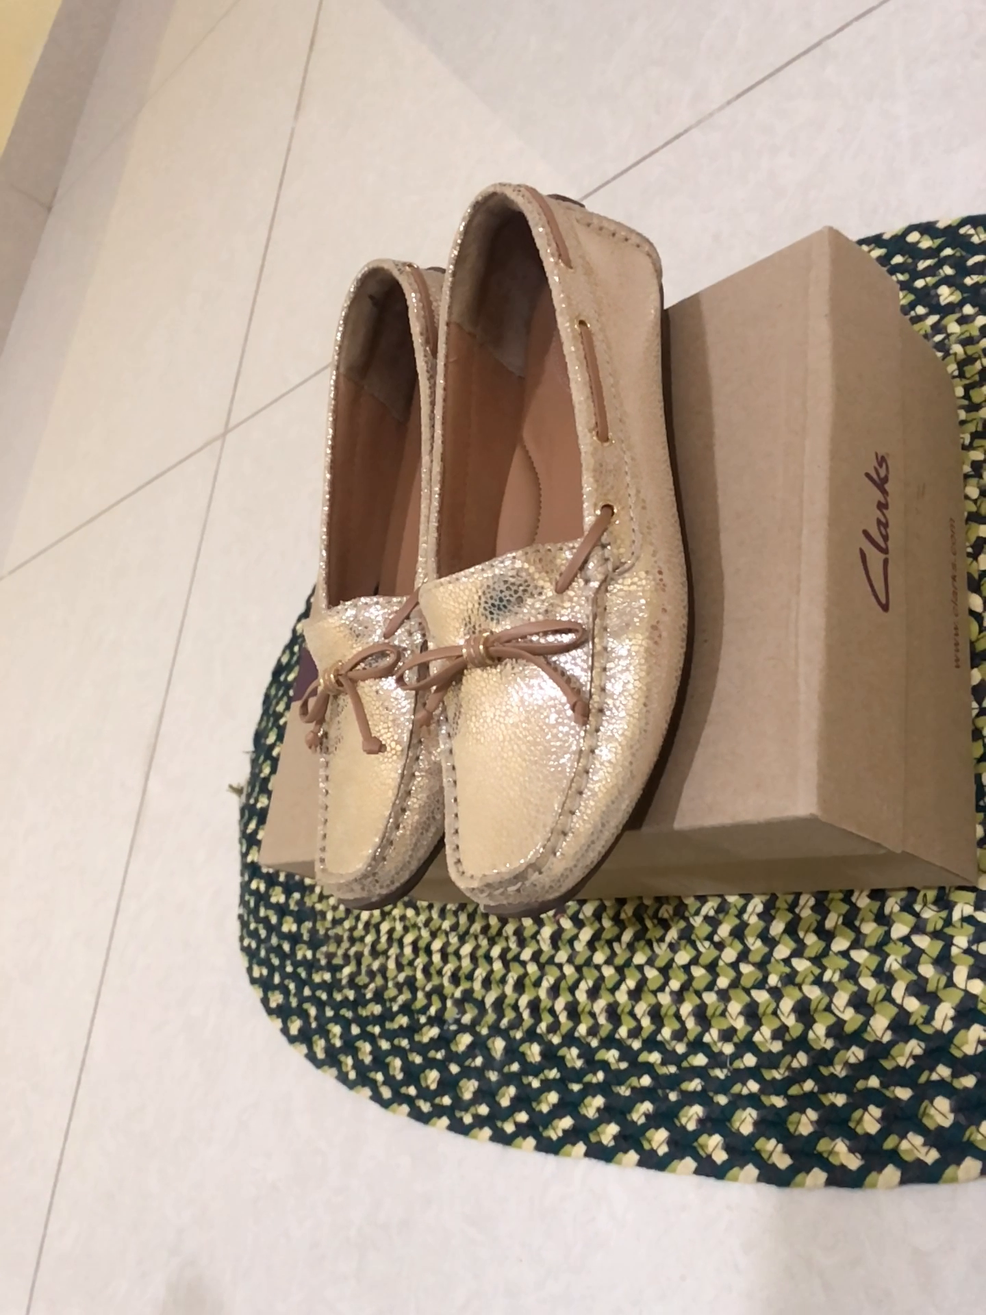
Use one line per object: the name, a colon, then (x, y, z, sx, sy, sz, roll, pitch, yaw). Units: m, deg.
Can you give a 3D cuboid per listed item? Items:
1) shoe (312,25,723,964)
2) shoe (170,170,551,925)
shoe: (0.017, -0.060, 0.373, 0.091, 0.060, 0.310, -15, 58, 43)
shoe: (-0.044, -0.044, 0.426, 0.091, 0.060, 0.280, -15, 58, 43)
